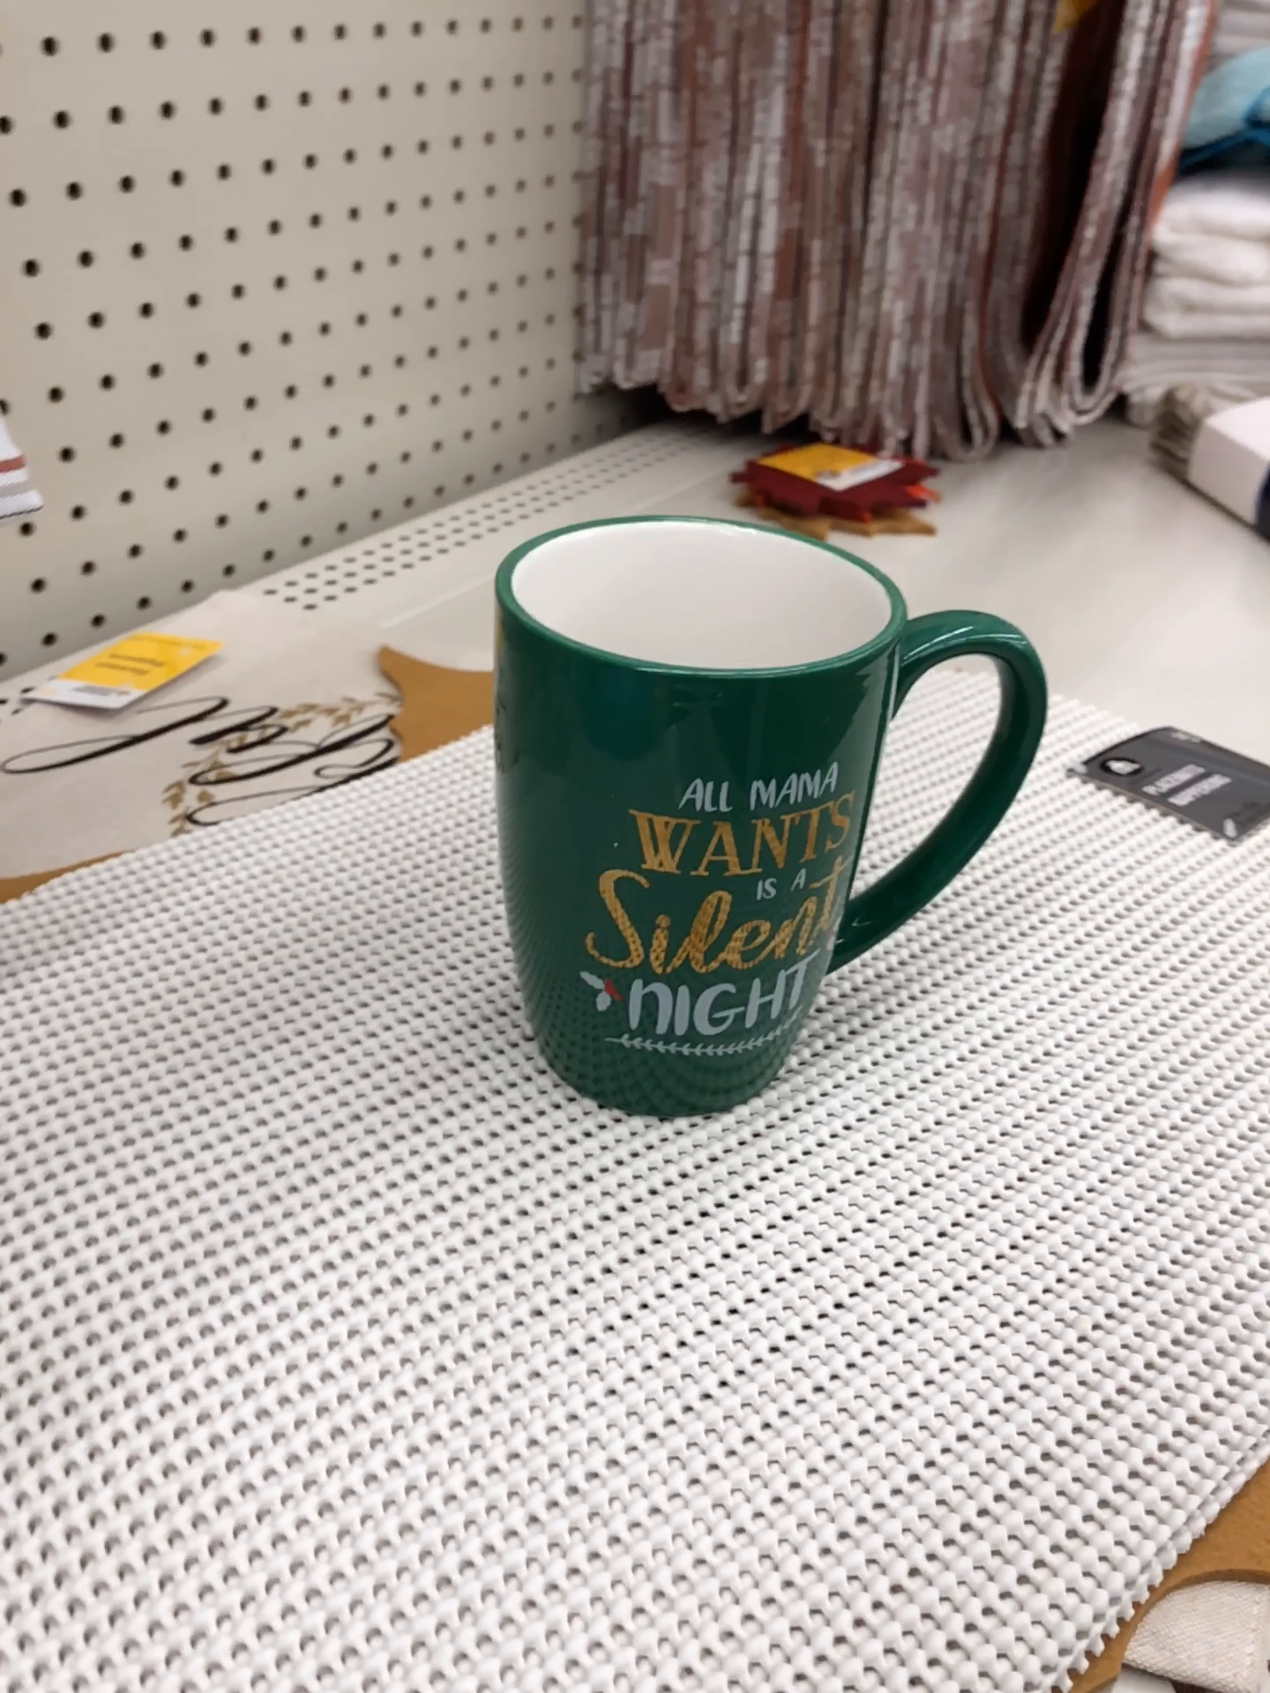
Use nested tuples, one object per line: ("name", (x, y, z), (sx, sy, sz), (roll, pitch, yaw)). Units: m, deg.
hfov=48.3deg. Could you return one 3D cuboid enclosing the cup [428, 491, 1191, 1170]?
("cup", (0.032, -0.011, 0.343), (0.140, 0.110, 0.100), (-9, 34, -15))
